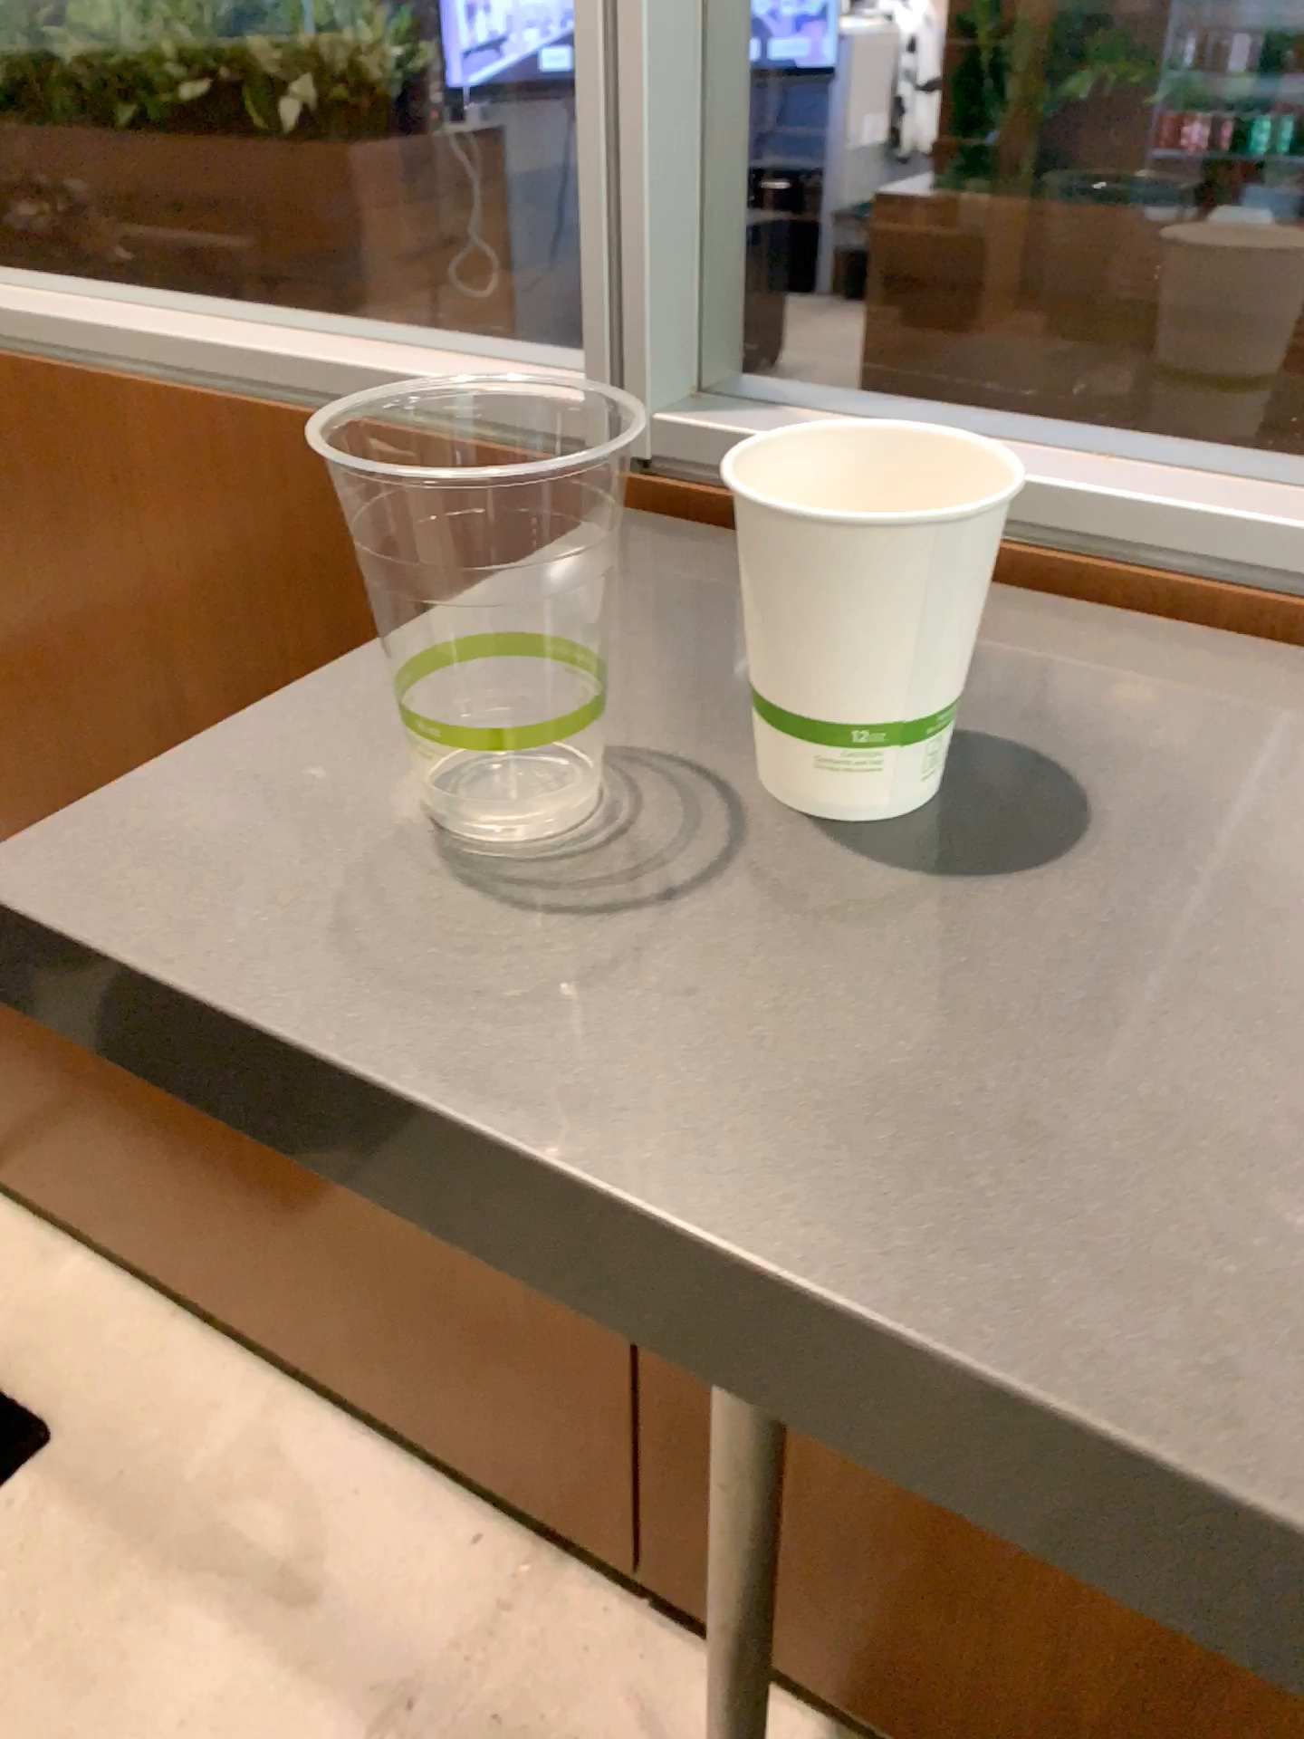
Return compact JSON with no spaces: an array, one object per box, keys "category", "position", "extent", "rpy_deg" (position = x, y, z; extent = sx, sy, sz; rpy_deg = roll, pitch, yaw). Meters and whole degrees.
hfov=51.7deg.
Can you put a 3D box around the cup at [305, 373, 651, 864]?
[{"category":"cup","position":[-0.053,-0.081,0.422],"extent":[0.090,0.119,0.091],"rpy_deg":[0,33,0]}]

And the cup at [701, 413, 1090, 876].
[{"category":"cup","position":[0.070,-0.075,0.430],"extent":[0.080,0.109,0.091],"rpy_deg":[-11,35,-15]}]
